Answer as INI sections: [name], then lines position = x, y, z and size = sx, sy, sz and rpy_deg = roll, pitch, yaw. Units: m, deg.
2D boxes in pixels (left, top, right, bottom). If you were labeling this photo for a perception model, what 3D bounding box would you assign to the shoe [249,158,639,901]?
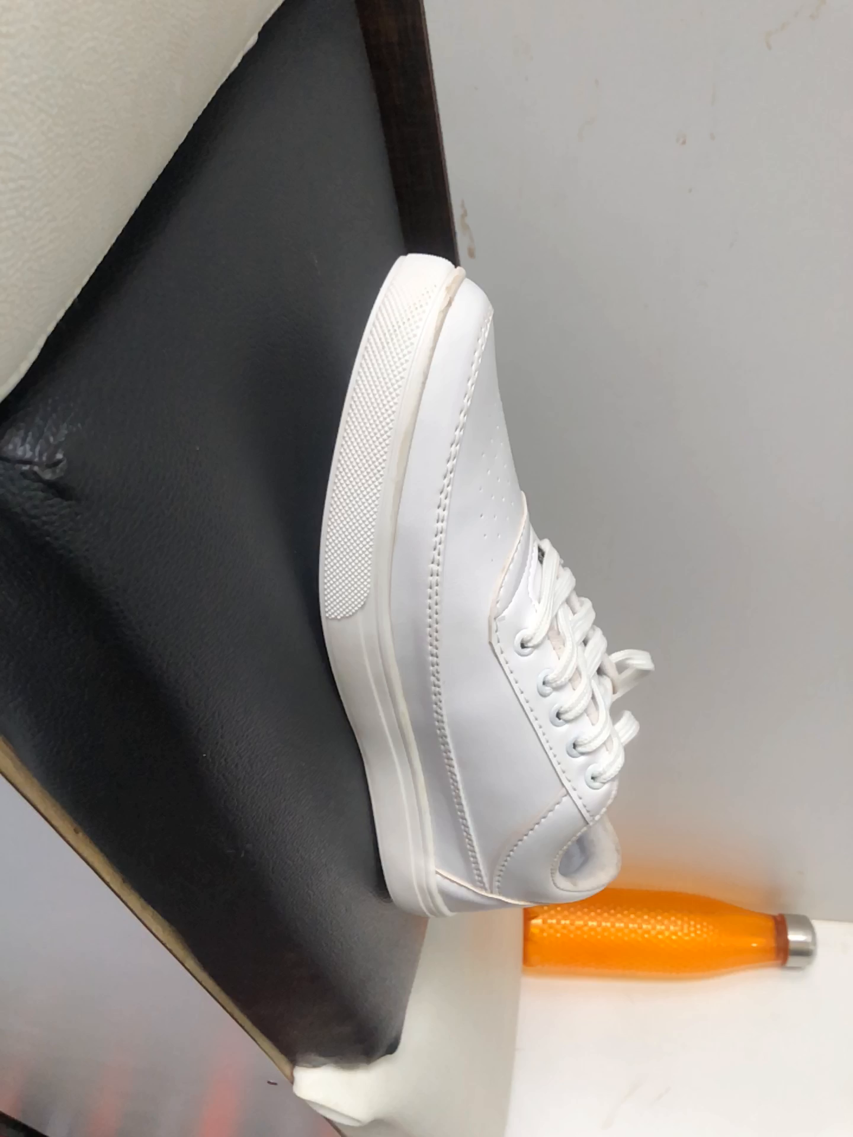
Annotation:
[shoe]
position = 0.032, 0.001, 0.404
size = 0.130, 0.110, 0.291
rpy_deg = -77, 163, -48
